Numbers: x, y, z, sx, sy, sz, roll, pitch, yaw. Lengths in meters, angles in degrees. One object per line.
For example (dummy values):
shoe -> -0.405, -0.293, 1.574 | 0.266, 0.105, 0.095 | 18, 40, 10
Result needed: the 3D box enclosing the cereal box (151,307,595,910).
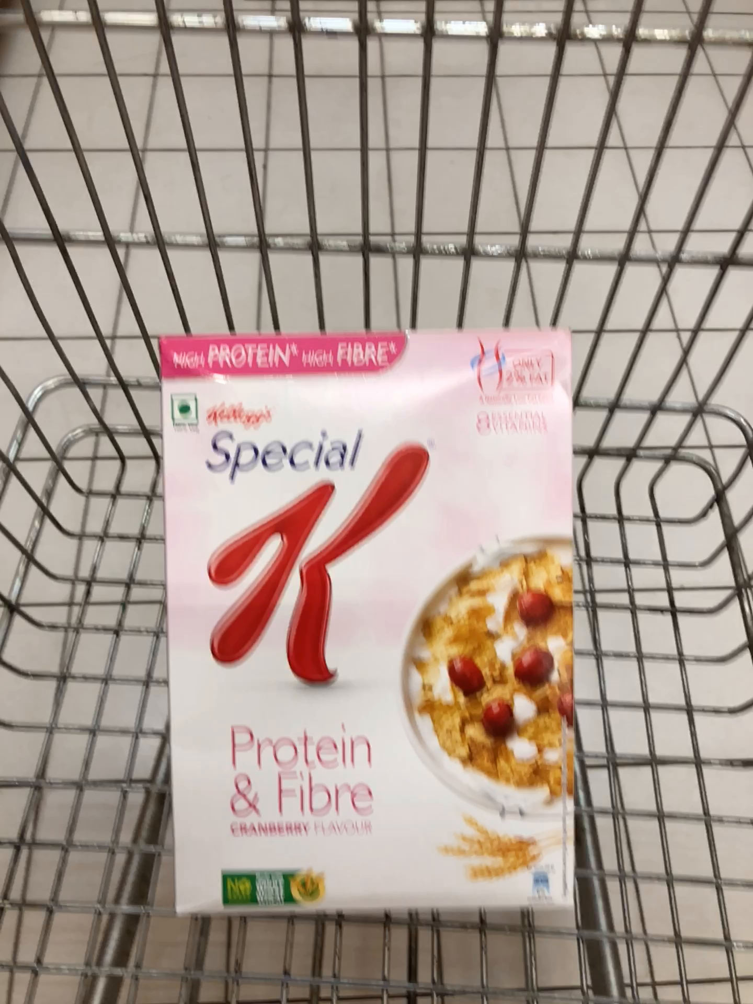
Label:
cereal box -> -0.002, 0.046, 0.420 | 0.190, 0.100, 0.270 | 0, 95, -1
